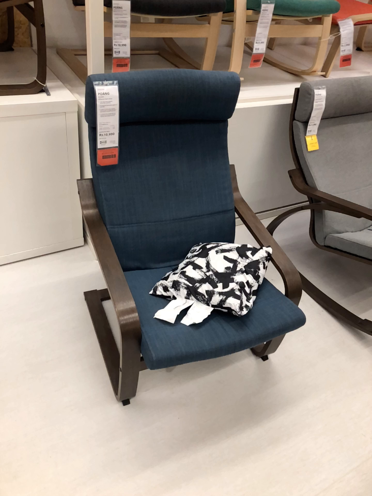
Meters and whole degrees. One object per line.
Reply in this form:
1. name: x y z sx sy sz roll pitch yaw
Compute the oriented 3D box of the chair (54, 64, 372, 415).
1. chair: 0.007 -0.071 1.422 0.721 0.884 0.694 -10 42 -22
